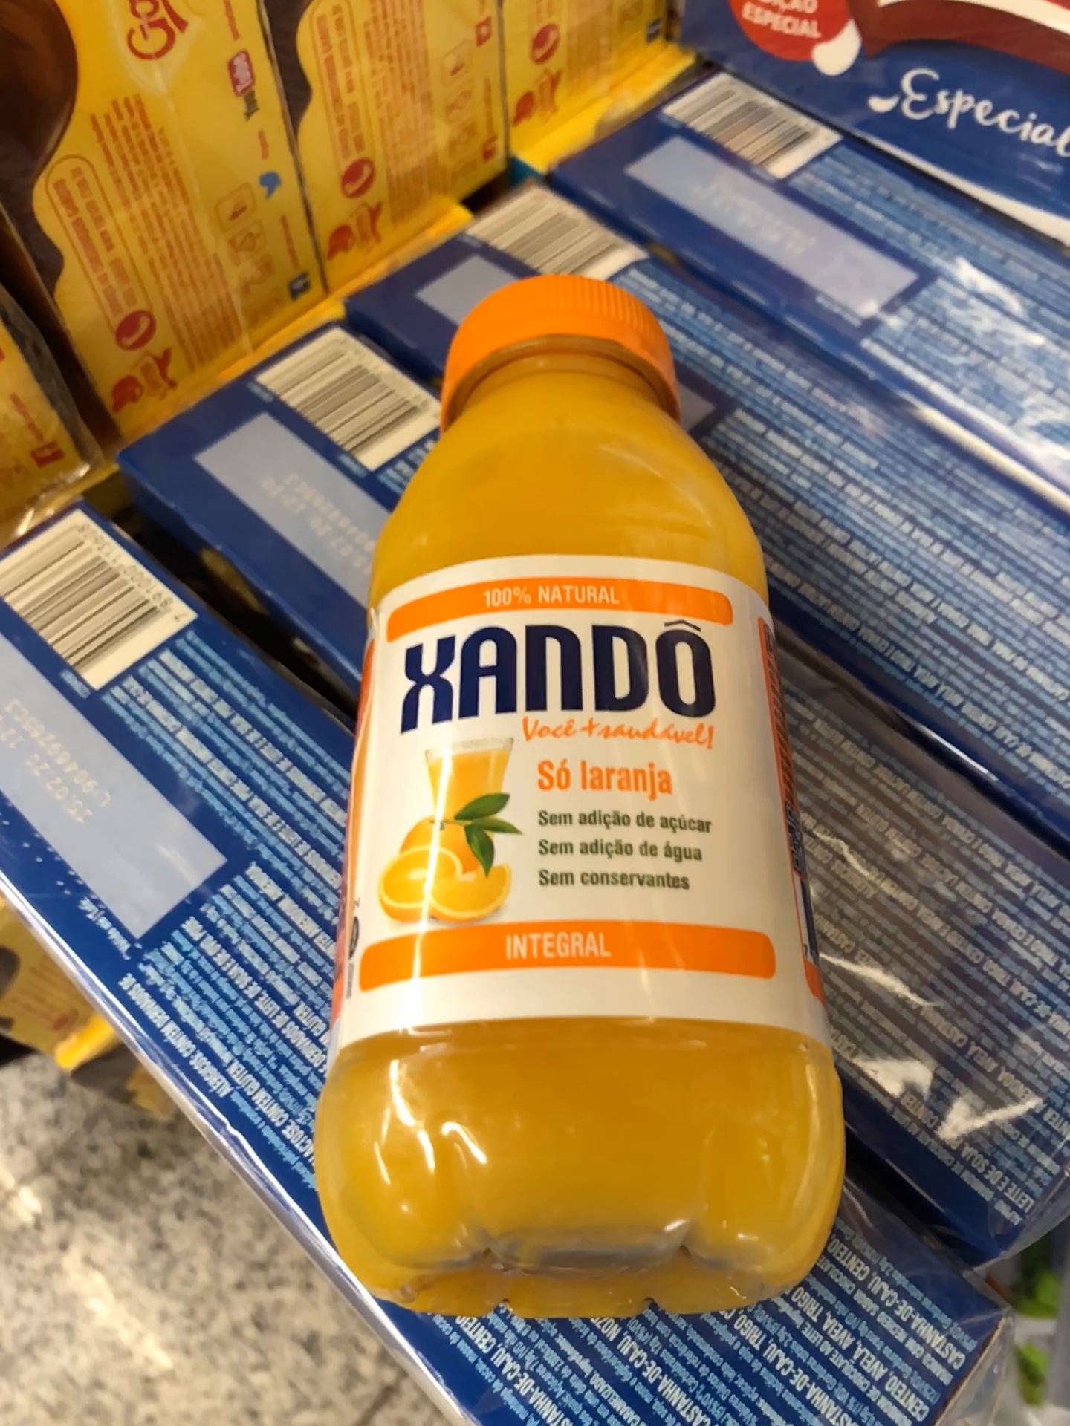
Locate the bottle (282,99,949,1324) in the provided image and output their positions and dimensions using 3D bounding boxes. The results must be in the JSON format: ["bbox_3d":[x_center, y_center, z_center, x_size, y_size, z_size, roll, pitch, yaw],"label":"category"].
[{"bbox_3d":[0.006,-0.004,0.186,0.060,0.080,0.171,-1,60,0],"label":"bottle"}]
